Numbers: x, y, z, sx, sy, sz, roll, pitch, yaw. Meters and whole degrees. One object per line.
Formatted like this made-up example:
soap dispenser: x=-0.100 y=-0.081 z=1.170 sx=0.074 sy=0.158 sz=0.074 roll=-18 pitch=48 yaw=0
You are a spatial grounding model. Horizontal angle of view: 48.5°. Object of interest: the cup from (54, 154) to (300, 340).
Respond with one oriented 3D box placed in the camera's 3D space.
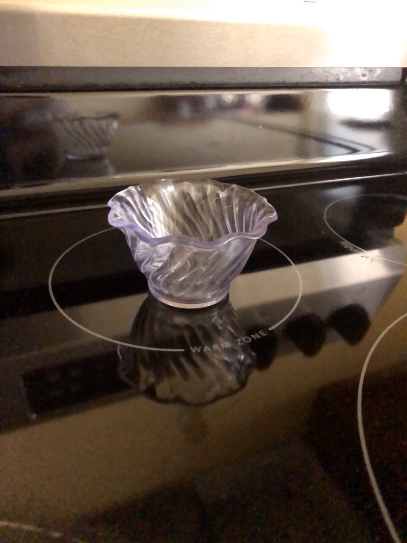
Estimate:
cup: x=-0.010 y=-0.024 z=0.264 sx=0.100 sy=0.052 sz=0.101 roll=2 pitch=30 yaw=-1
